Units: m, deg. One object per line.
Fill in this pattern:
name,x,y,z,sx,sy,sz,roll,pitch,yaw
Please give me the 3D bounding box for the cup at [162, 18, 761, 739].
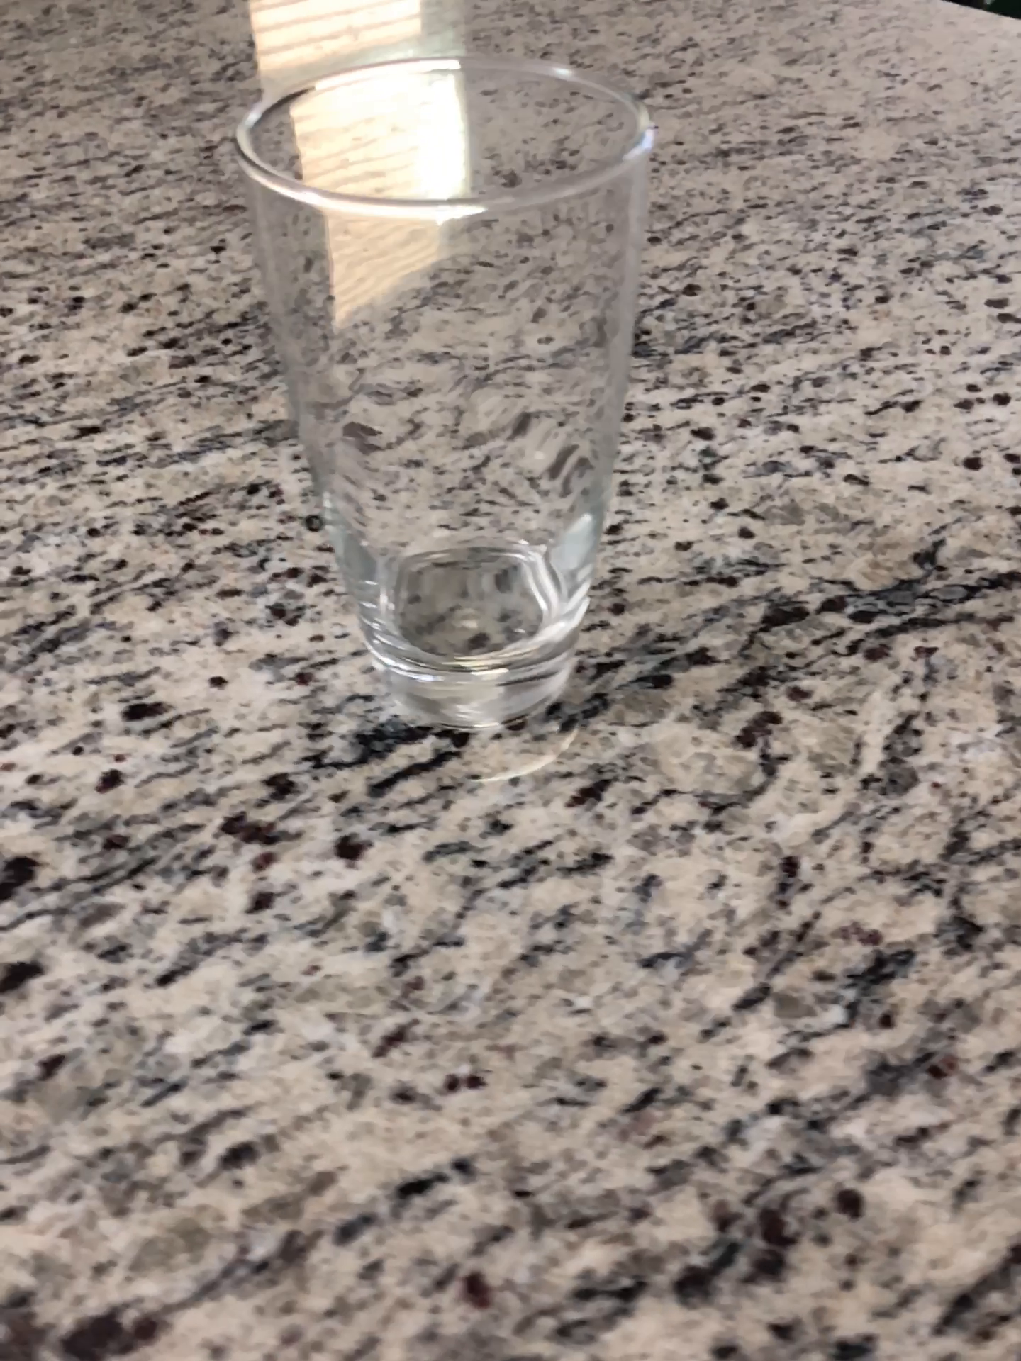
cup,-0.003,-0.070,0.268,0.100,0.129,0.101,-1,44,1
